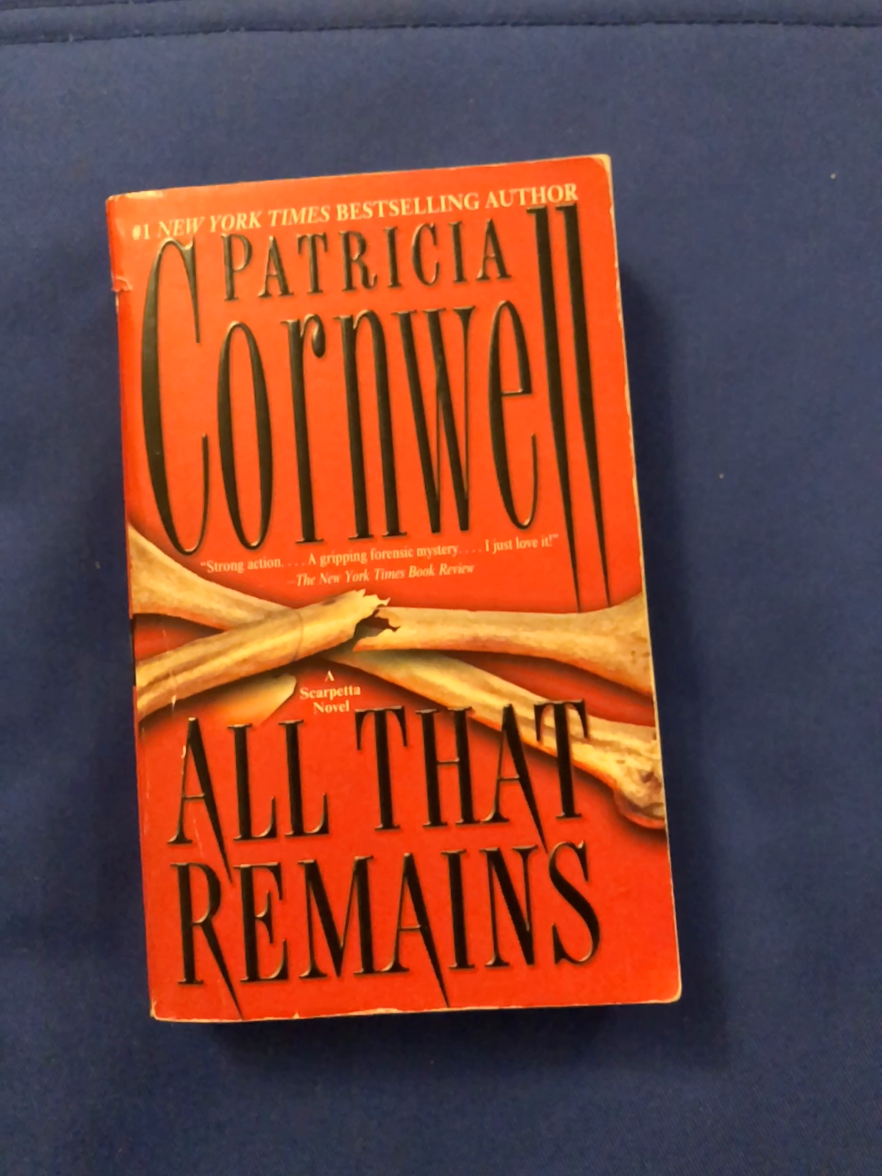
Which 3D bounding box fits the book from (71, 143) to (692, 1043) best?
[{"bbox_3d":[-0.013,0.000,0.205,0.110,0.030,0.166,-4,86,1],"label":"book"}]
